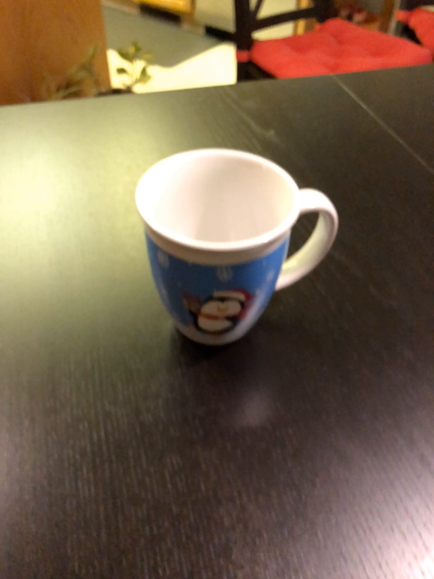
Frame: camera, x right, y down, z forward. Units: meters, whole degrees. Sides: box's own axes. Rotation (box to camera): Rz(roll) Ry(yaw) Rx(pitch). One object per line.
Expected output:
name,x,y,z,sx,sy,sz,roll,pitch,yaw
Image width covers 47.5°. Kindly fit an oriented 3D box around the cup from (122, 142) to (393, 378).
cup,0.017,-0.022,0.329,0.140,0.099,0.101,-8,46,-9
